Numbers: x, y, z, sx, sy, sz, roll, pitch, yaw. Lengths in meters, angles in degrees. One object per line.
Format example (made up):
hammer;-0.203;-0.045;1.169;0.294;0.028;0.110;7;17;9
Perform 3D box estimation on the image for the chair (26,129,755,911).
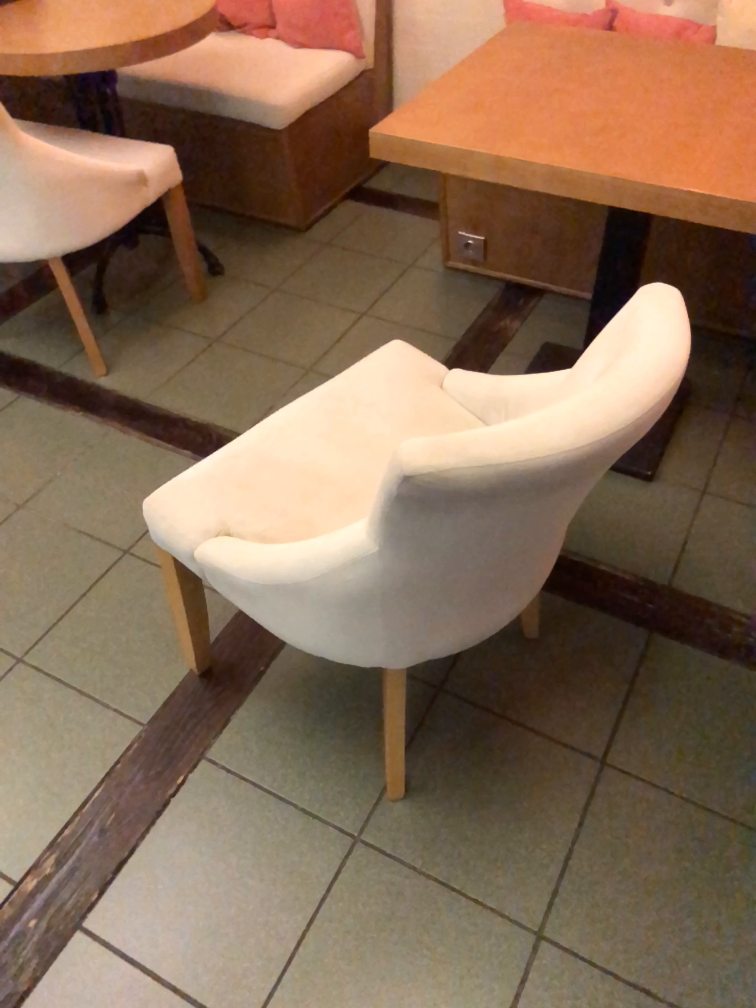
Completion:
chair;0.050;-0.007;1.234;0.662;0.736;0.632;32;54;29
